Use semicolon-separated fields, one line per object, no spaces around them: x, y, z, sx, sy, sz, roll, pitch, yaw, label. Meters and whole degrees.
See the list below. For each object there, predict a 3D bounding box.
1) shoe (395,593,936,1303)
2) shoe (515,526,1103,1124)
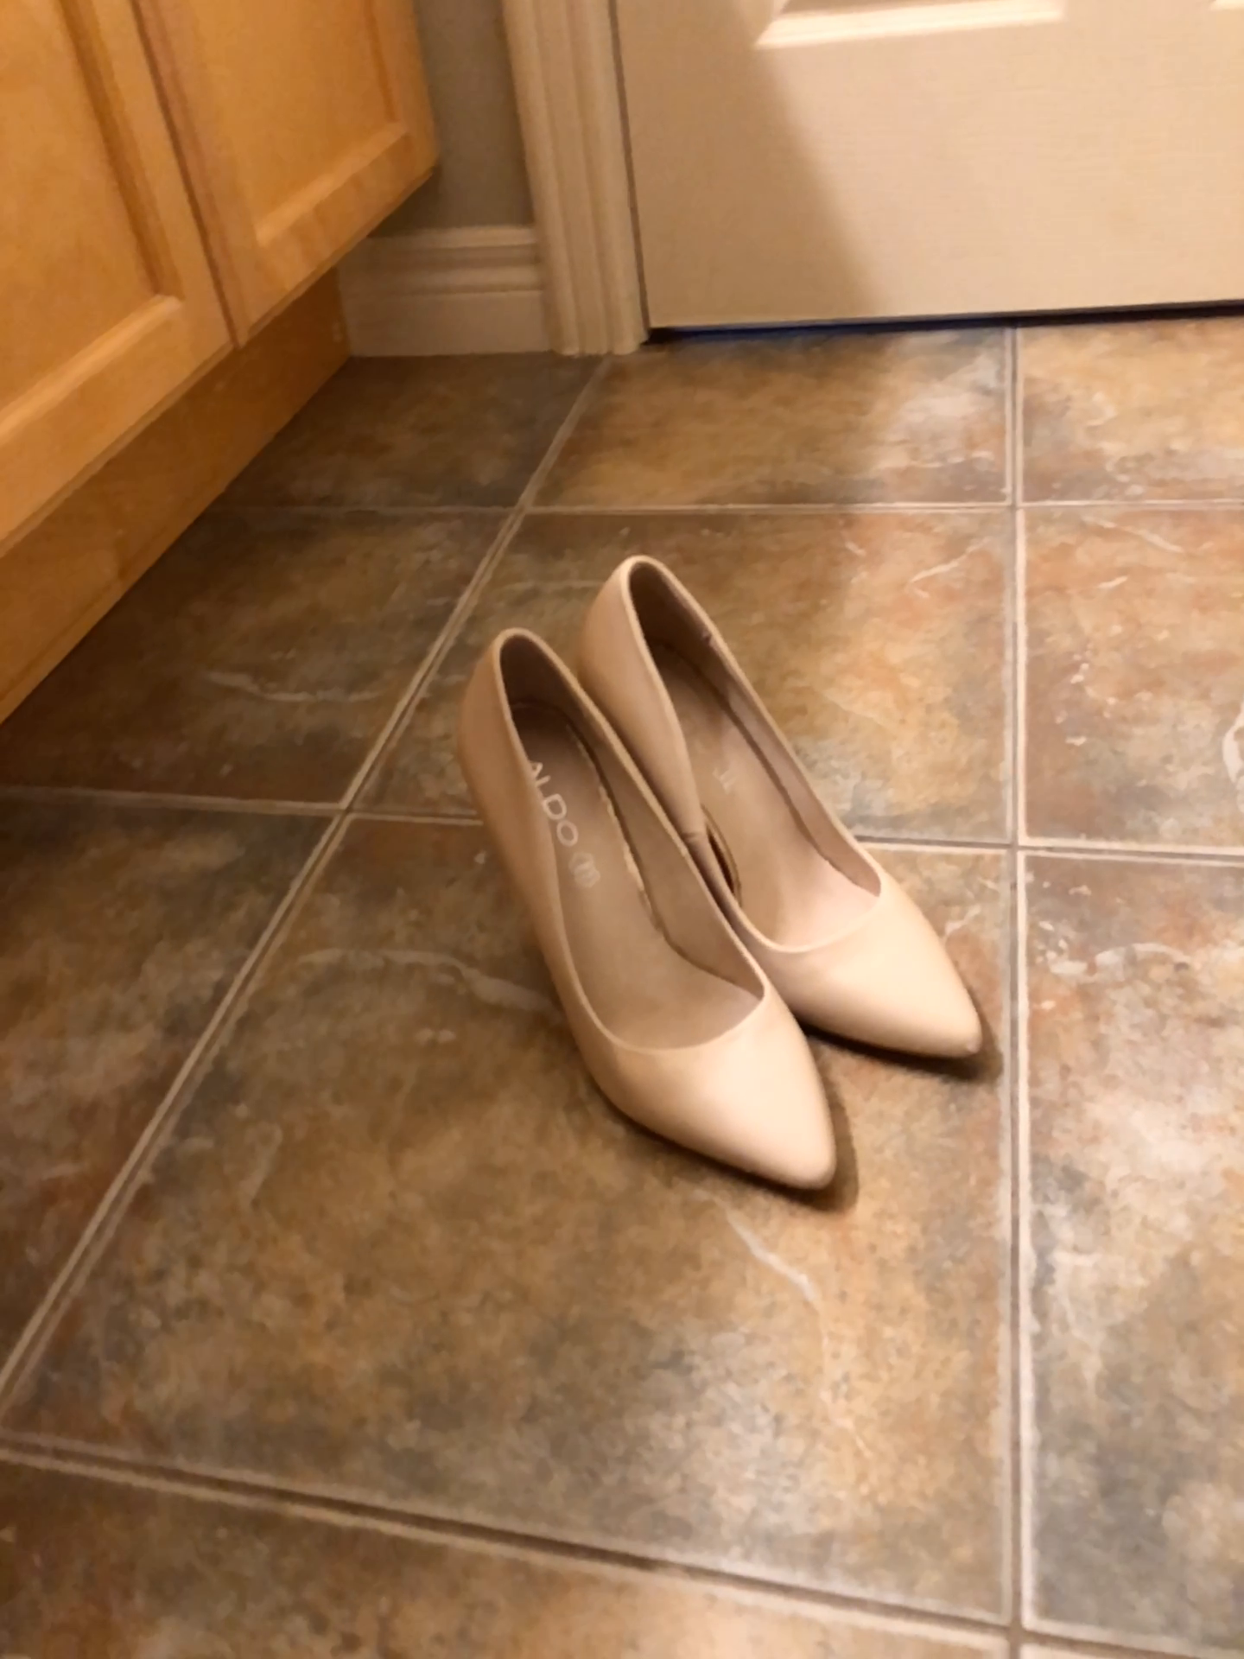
0.010;0.032;0.518;0.080;0.149;0.231;-24;41;-19;shoe
0.063;-0.014;0.543;0.080;0.129;0.231;-29;43;-24;shoe
